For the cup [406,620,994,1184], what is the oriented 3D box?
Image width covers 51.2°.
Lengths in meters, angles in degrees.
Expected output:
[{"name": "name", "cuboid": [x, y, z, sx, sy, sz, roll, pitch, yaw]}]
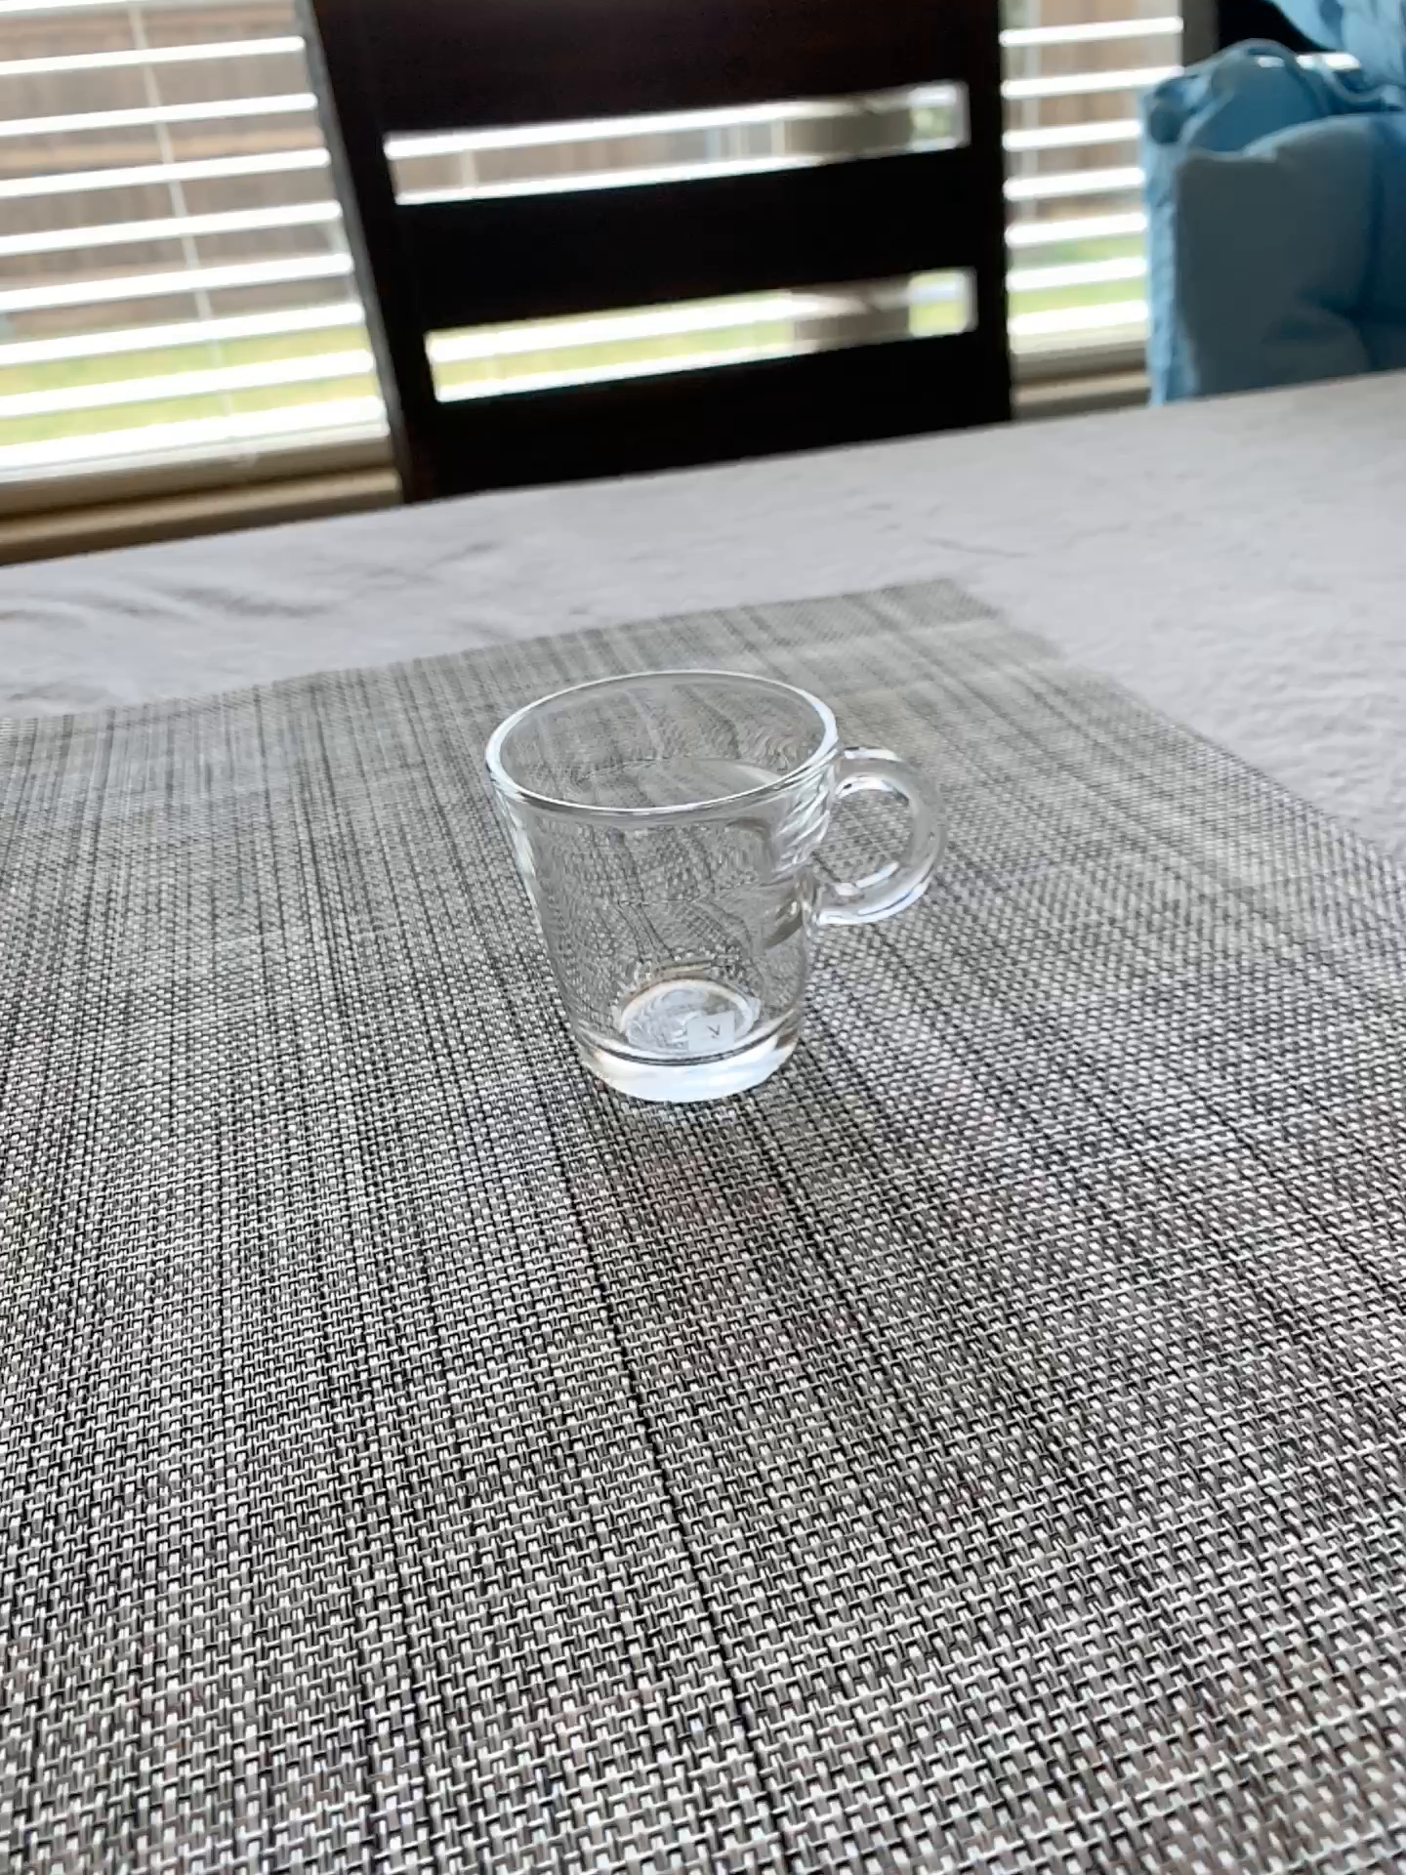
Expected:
[{"name": "cup", "cuboid": [-0.001, -0.009, 0.253, 0.083, 0.060, 0.058, -14, 32, -10]}]
